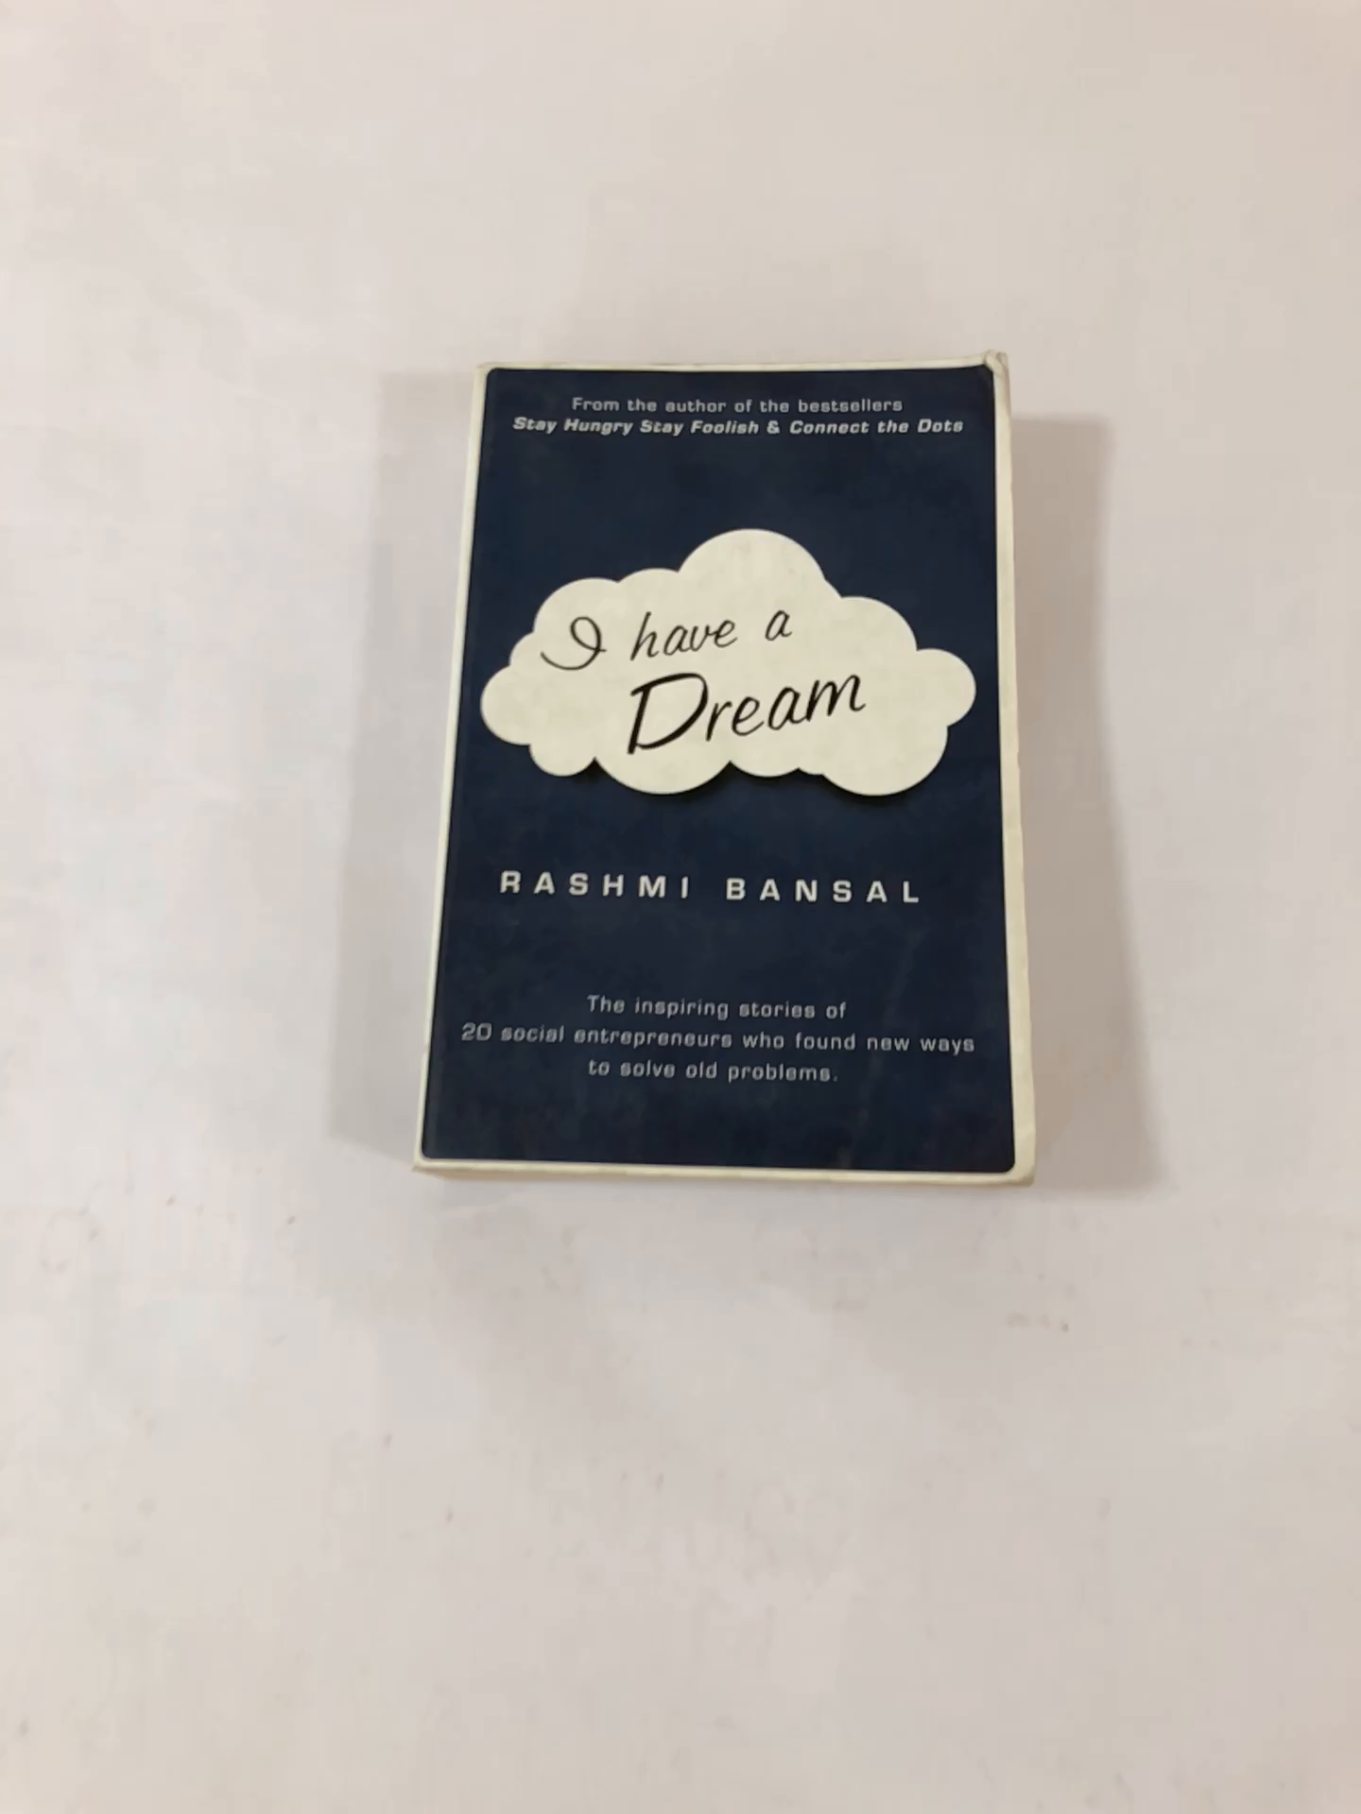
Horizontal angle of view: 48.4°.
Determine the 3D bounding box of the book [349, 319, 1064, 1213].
[{"bbox_3d":[0.009,-0.037,0.340,0.140,0.030,0.200,2,73,2],"label":"book"}]
